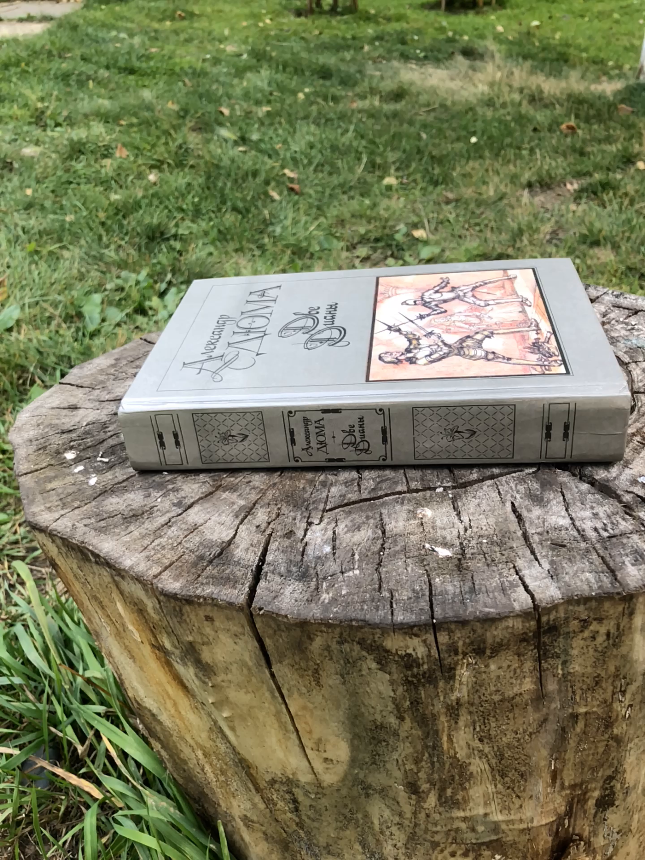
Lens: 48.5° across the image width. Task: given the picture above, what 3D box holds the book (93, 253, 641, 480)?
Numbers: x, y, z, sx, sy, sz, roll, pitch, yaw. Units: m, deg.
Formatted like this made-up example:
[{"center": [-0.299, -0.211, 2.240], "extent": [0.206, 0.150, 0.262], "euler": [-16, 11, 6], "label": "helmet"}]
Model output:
[{"center": [0.019, -0.035, 0.331], "extent": [0.204, 0.030, 0.141], "euler": [-1, 36, 7], "label": "book"}]
